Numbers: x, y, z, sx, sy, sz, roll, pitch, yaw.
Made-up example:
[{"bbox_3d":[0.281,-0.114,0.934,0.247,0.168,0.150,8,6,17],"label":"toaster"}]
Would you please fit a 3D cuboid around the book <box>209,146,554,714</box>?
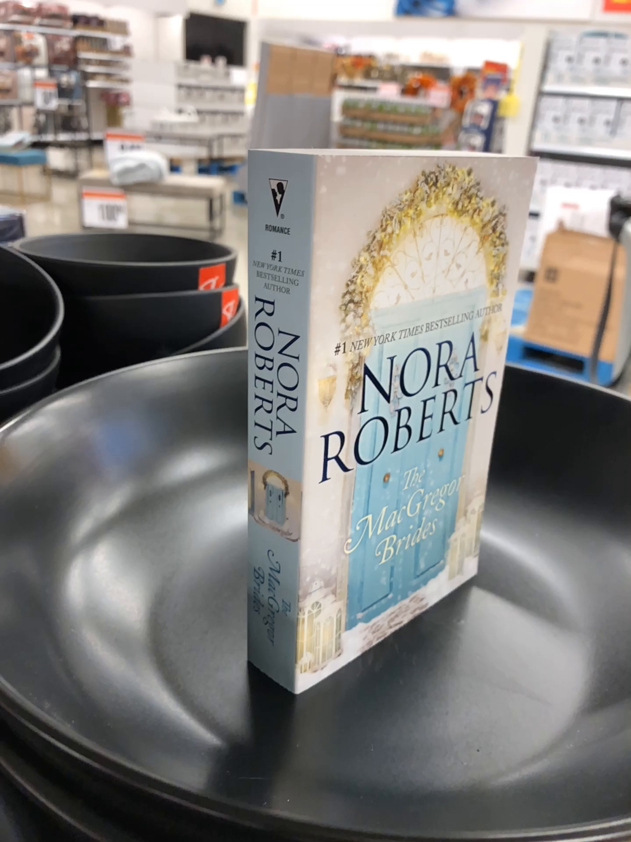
[{"bbox_3d":[0.022,-0.003,0.245,0.111,0.168,0.040,-19,31,-41],"label":"book"}]
